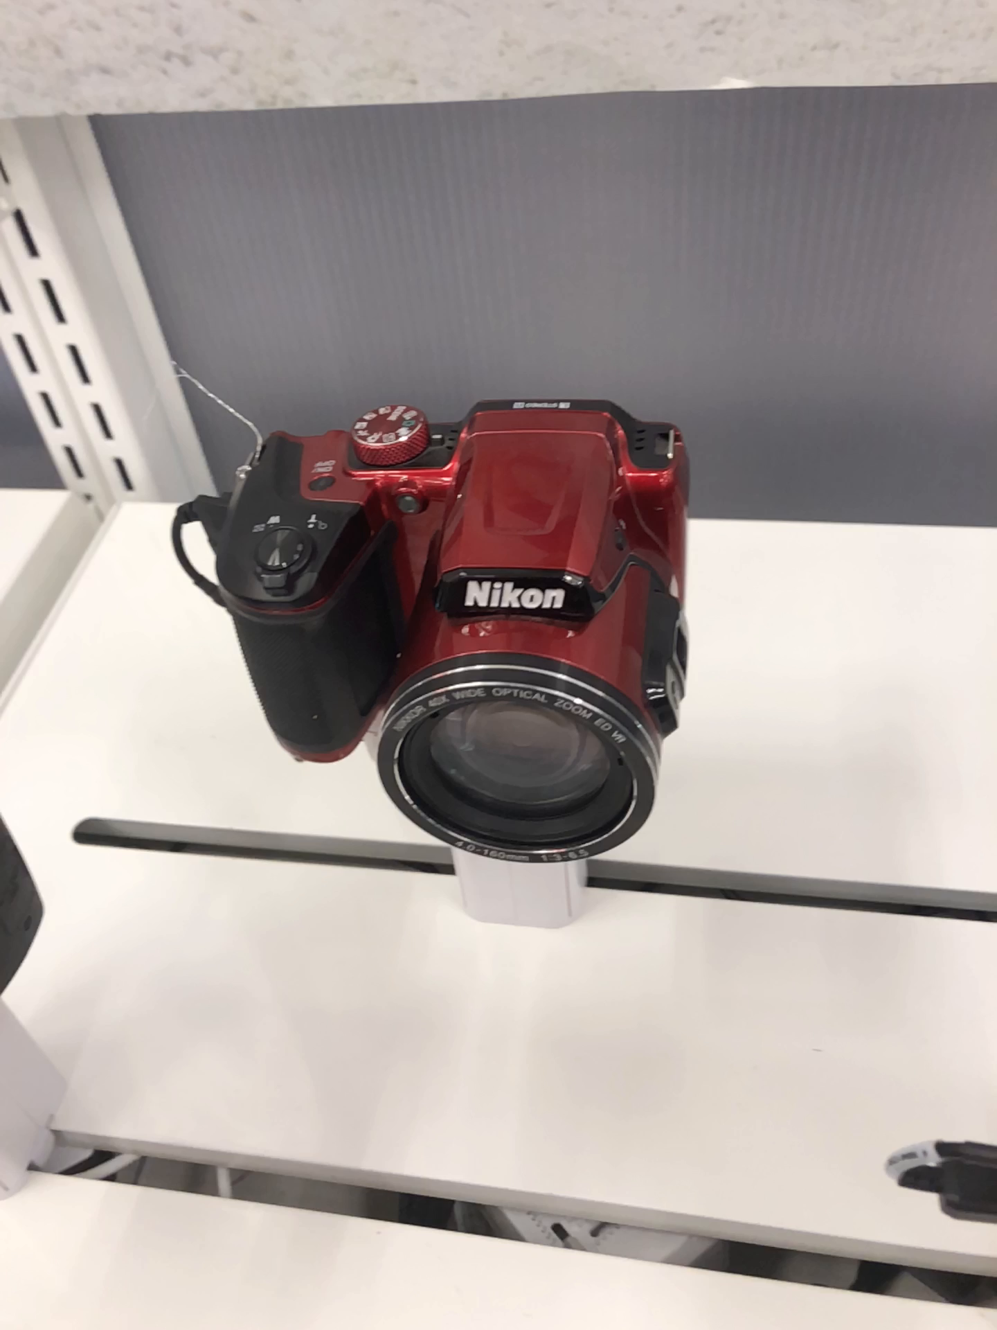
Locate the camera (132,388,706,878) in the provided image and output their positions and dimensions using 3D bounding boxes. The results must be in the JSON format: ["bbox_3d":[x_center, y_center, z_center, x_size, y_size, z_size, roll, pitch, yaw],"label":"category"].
[{"bbox_3d":[-0.009,-0.010,0.266,0.110,0.073,0.084,3,46,10],"label":"camera"}]
